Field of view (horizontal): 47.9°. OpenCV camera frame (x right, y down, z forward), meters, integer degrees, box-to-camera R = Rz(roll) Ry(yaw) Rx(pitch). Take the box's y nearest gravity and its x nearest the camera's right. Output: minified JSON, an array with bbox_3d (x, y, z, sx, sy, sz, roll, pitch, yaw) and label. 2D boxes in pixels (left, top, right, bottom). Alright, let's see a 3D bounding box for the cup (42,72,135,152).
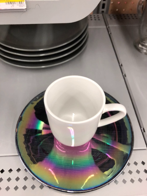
[{"bbox_3d":[0.015,0.024,0.260,0.113,0.098,0.078,-3,53,-4],"label":"cup"}]
